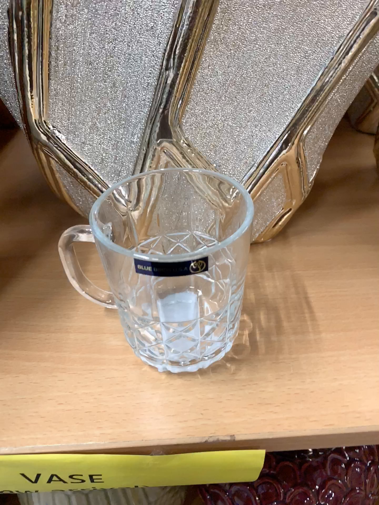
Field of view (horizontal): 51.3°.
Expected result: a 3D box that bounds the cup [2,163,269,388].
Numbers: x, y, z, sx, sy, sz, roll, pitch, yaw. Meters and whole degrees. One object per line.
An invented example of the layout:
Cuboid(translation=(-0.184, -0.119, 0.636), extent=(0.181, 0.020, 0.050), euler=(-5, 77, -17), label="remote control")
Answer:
Cuboid(translation=(-0.019, 0.012, 0.202), extent=(0.100, 0.090, 0.070), euler=(-1, 38, 2), label="cup")
